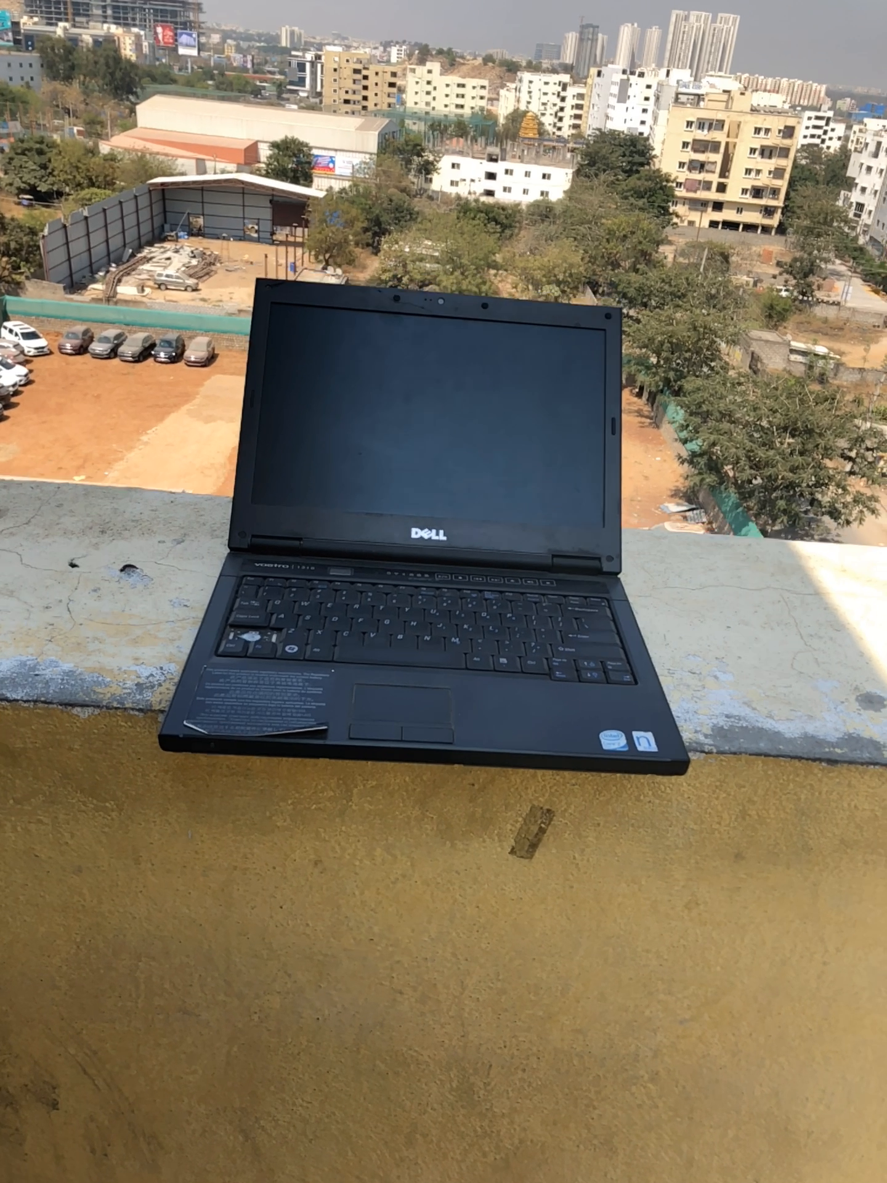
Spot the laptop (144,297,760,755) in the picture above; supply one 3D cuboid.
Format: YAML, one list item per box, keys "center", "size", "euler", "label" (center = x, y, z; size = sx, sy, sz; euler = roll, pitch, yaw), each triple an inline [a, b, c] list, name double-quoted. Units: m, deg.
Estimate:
- center: [-0.001, -0.074, 0.684]
  size: [0.301, 0.178, 0.378]
  euler: [3, 27, -2]
  label: "laptop"
